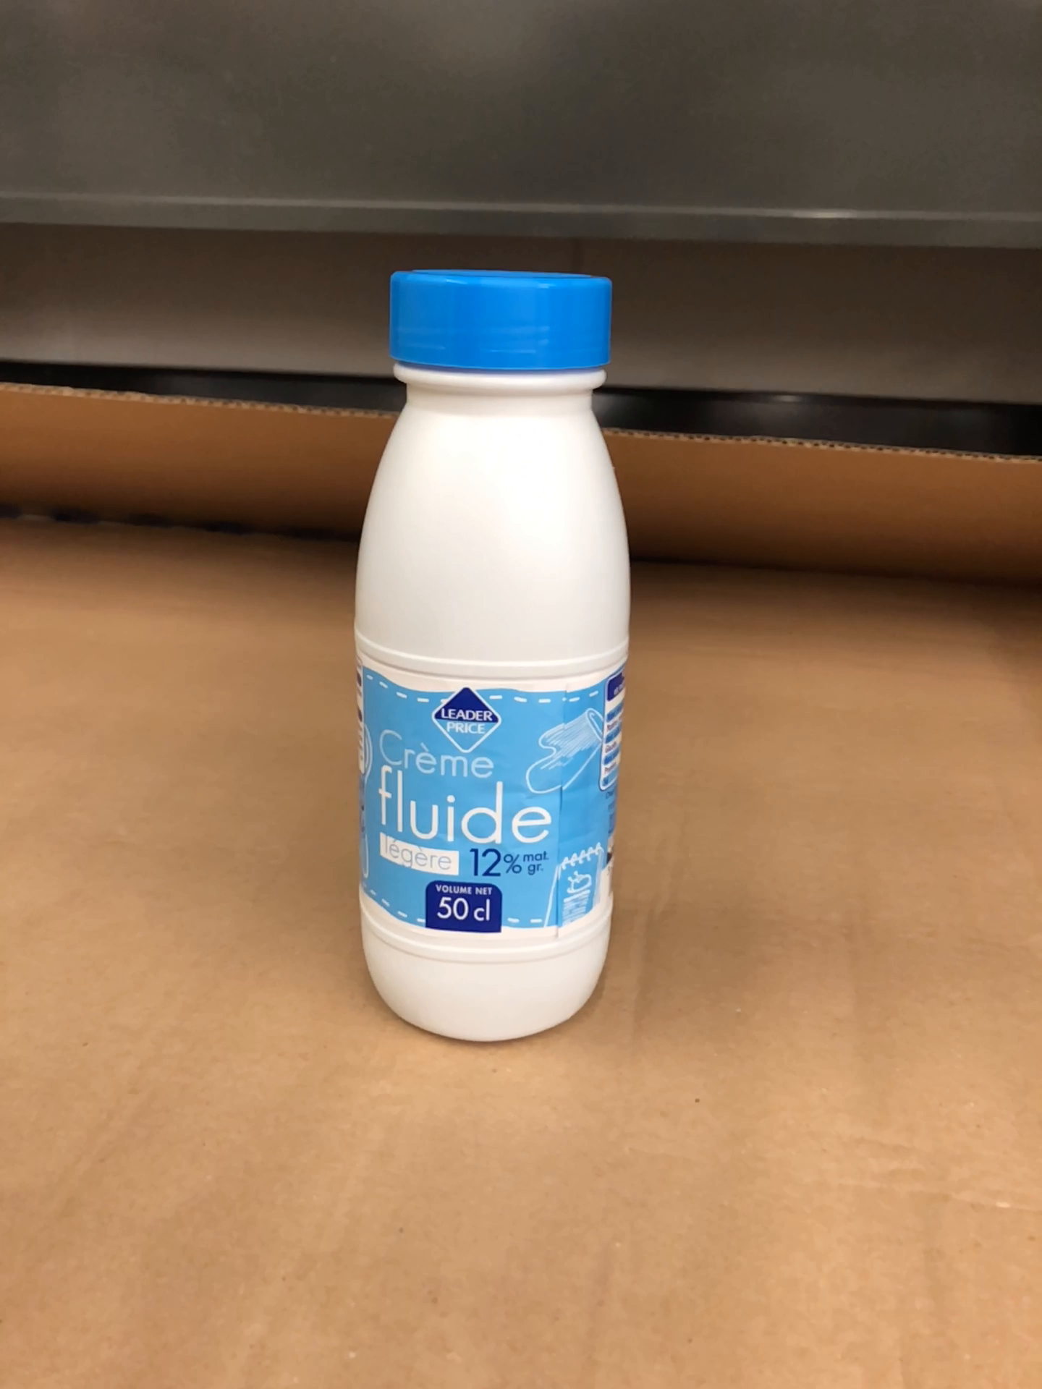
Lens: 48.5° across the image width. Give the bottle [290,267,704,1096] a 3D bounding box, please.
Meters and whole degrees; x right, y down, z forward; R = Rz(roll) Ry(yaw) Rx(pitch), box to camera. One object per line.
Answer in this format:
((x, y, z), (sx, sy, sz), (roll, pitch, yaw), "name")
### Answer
((-0.003, -0.006, 0.293), (0.080, 0.189, 0.080), (1, 21, 0), "bottle")
